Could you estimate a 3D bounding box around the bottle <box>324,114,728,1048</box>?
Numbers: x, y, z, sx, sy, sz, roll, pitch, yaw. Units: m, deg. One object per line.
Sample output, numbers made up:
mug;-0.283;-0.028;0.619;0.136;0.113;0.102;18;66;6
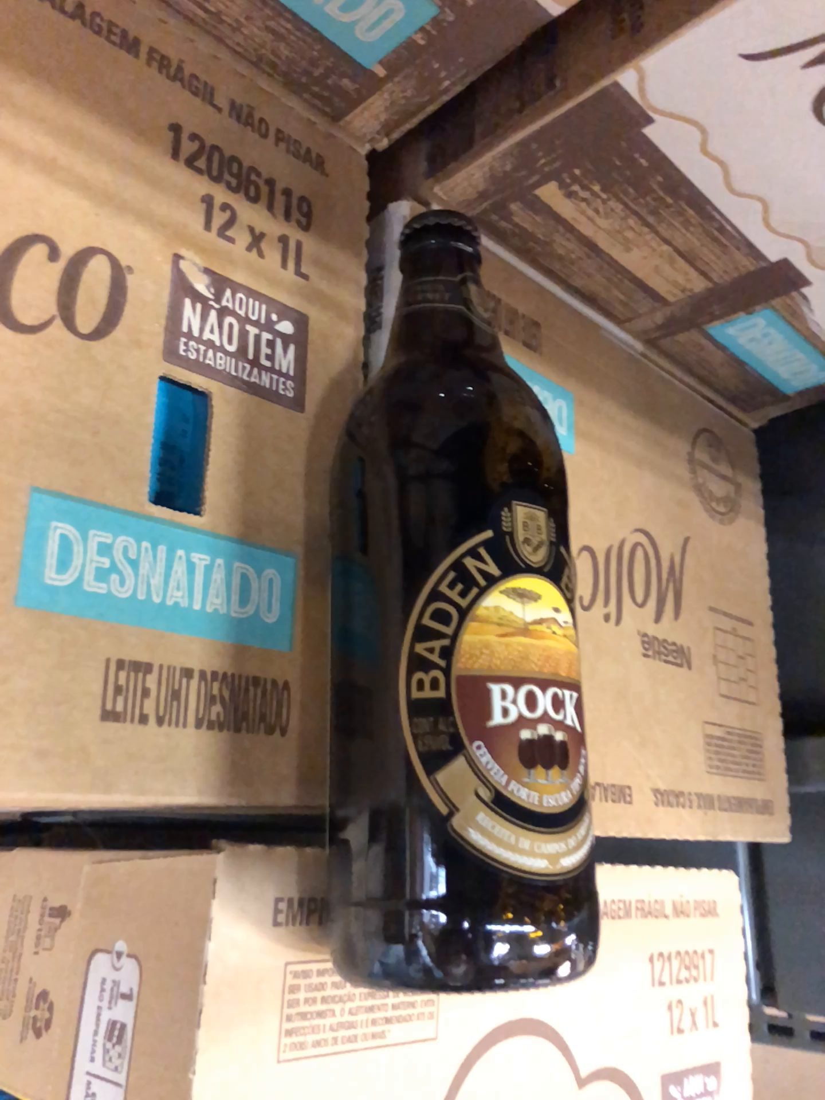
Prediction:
bottle;0.030;0.006;0.270;0.081;0.070;0.230;15;68;-43
